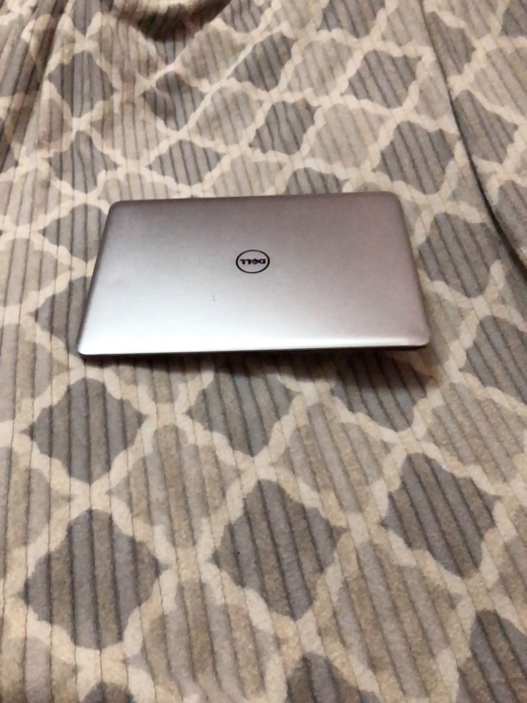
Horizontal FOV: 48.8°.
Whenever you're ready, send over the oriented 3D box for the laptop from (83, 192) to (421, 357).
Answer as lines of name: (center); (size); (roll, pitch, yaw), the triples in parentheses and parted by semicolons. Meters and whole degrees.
laptop: (-0.015, -0.102, 0.695); (0.359, 0.007, 0.253); (-2, 52, 1)
